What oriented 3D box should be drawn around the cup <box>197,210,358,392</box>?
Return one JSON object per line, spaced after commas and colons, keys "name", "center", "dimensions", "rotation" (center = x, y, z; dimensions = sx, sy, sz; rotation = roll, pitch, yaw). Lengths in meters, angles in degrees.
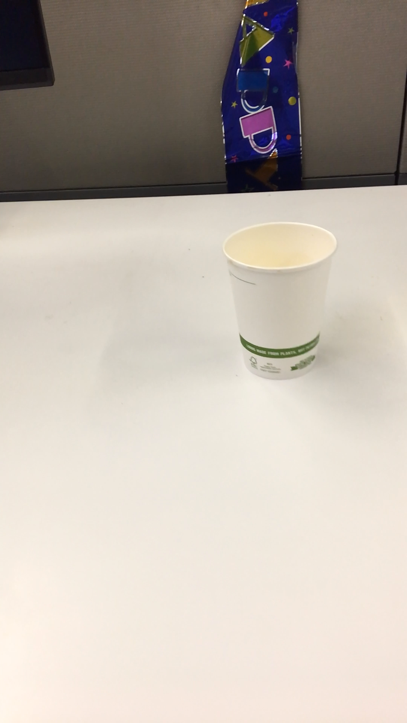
{"name": "cup", "center": [0.058, -0.051, 0.477], "dimensions": [0.090, 0.100, 0.080], "rotation": [21, 41, 33]}
